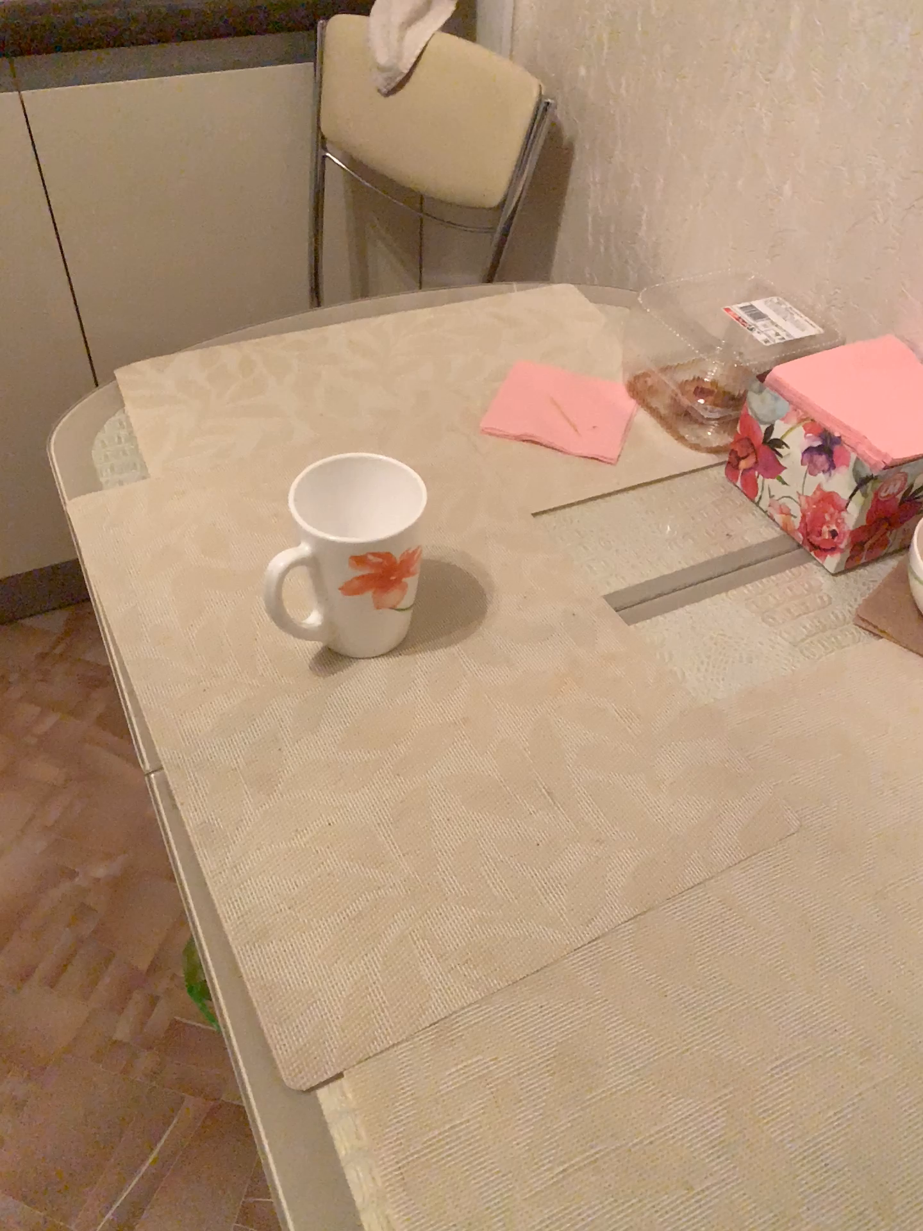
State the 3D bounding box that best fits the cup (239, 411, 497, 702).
[{"bbox_3d":[-0.051,-0.037,0.555,0.084,0.099,0.119,31,51,25],"label":"cup"}]
